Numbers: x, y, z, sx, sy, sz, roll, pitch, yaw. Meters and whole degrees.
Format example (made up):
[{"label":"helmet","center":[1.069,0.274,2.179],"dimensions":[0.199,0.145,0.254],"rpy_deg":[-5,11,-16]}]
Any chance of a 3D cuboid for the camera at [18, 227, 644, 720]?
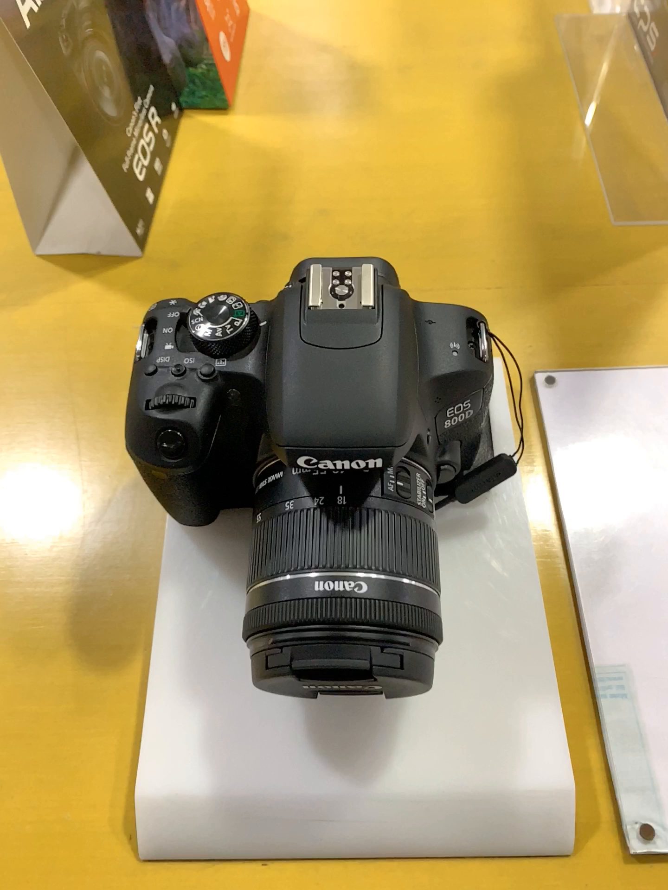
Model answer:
[{"label":"camera","center":[0.000,0.013,0.226],"dimensions":[0.140,0.090,0.130],"rpy_deg":[-2,60,2]}]
